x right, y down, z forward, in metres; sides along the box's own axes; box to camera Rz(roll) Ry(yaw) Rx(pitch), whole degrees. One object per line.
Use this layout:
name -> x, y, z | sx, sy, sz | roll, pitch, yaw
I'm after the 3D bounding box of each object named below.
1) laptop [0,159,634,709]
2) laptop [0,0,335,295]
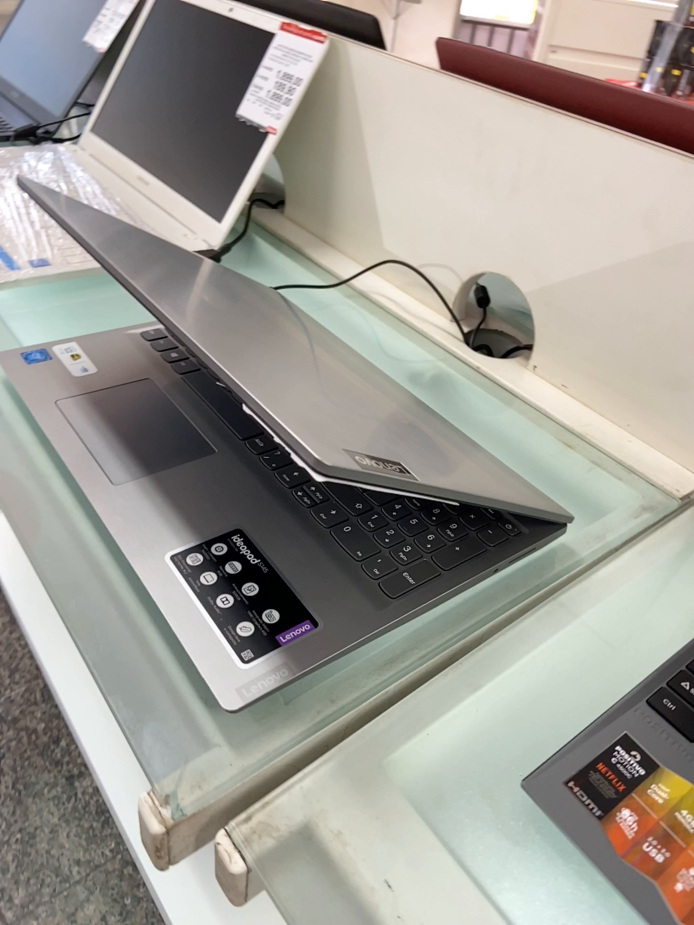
laptop -> -0.059, -0.071, 0.467 | 0.250, 0.127, 0.364 | -20, 45, -32
laptop -> -0.299, -0.388, 0.782 | 0.384, 0.202, 0.411 | -19, 44, -30
